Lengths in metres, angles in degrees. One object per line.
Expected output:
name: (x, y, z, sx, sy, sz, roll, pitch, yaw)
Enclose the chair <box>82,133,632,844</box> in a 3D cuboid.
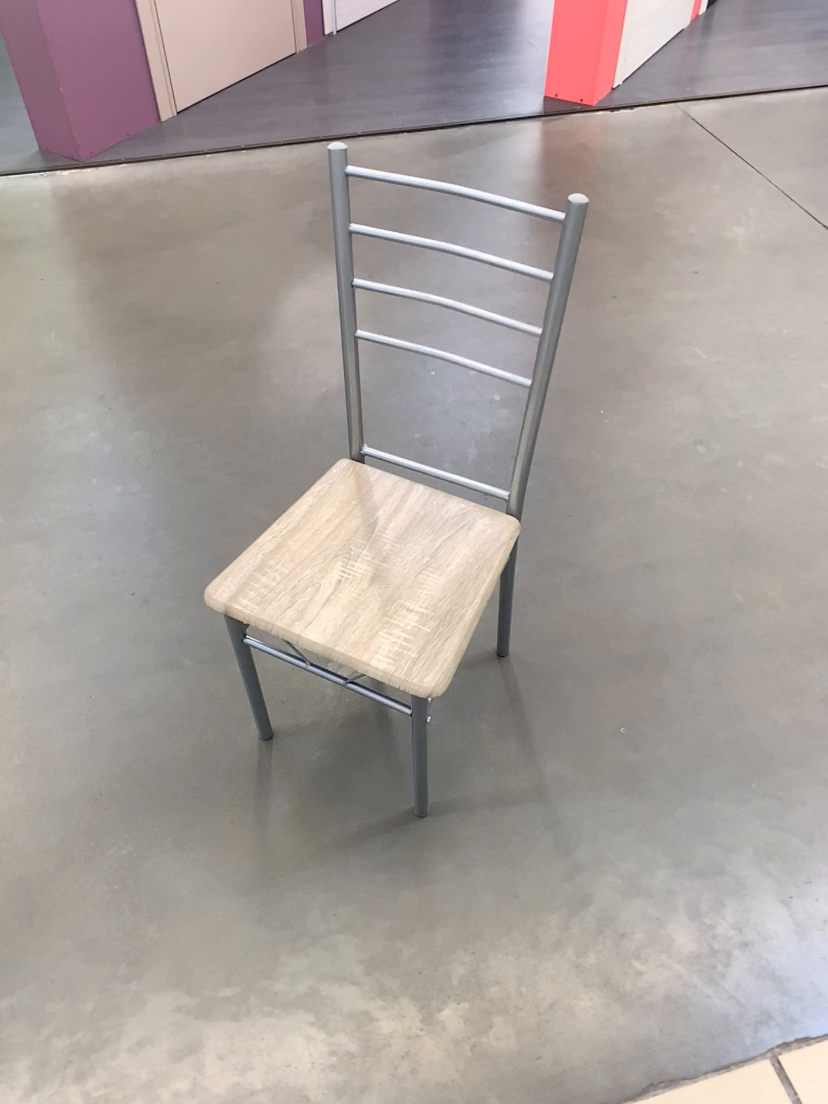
chair: (-0.036, -0.049, 1.218, 0.411, 0.837, 0.471, 22, 51, 19)
